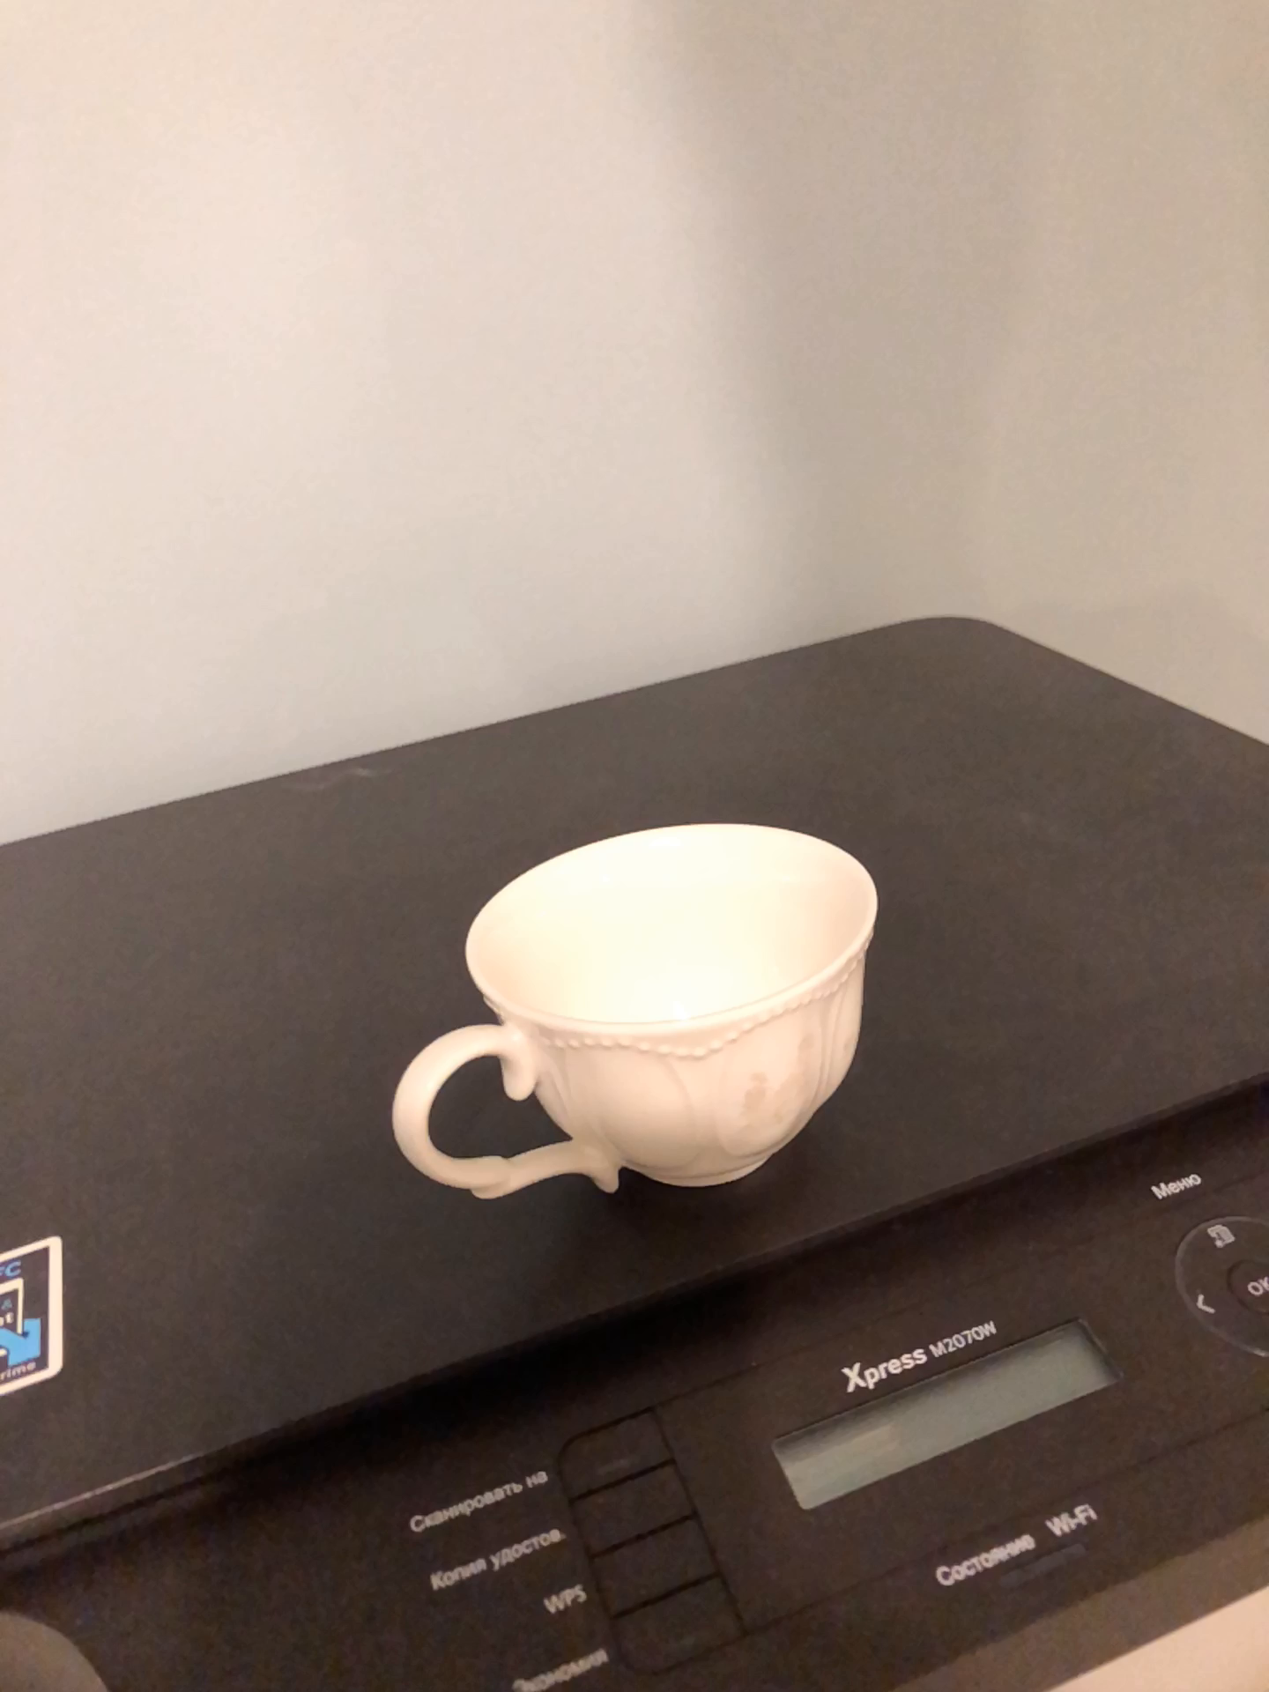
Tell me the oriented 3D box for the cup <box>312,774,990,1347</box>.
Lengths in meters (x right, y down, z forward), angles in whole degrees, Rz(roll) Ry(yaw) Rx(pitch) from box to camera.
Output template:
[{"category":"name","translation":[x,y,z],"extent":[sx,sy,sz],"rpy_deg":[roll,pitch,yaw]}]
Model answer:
[{"category":"cup","translation":[0.005,0.030,0.258],"extent":[0.094,0.044,0.076],"rpy_deg":[-24,30,-34]}]
